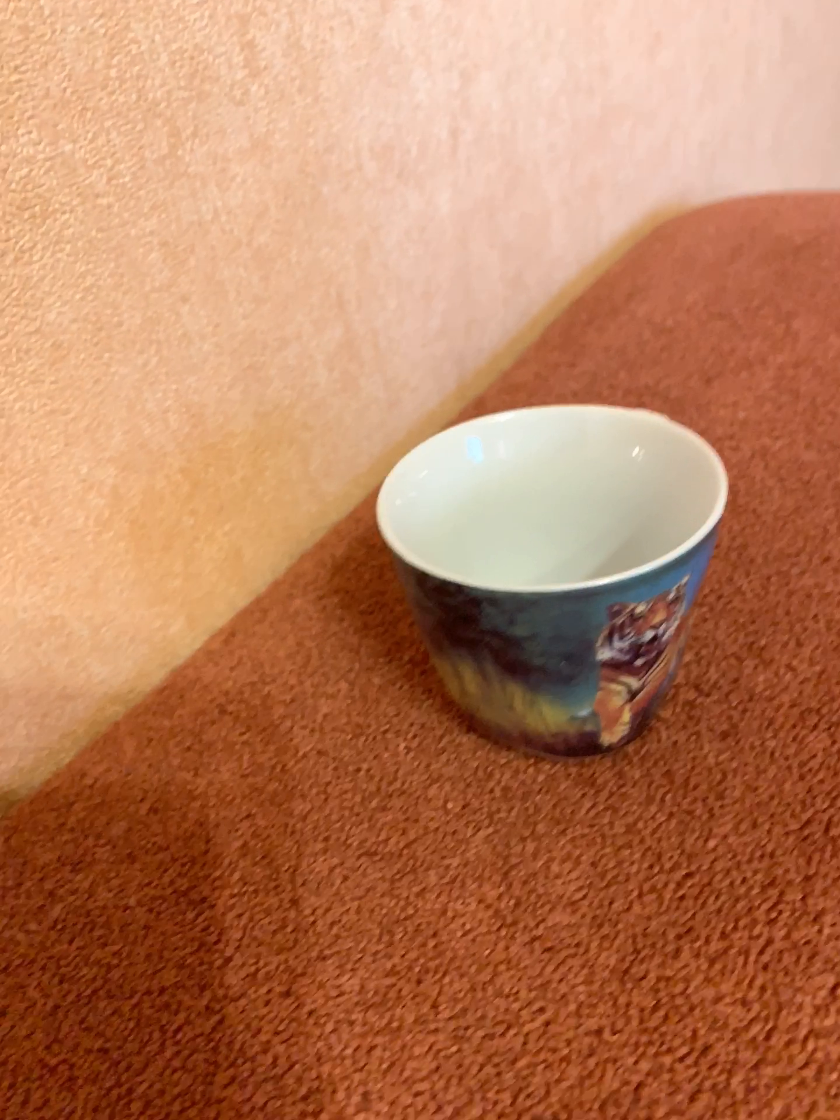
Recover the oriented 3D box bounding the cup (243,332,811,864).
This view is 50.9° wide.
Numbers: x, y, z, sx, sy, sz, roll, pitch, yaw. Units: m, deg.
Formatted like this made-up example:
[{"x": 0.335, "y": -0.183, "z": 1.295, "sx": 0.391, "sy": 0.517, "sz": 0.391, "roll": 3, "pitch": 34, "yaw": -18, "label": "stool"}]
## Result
[{"x": 0.025, "y": -0.001, "z": 0.176, "sx": 0.072, "sy": 0.047, "sz": 0.083, "roll": 18, "pitch": 46, "yaw": 33, "label": "cup"}]
